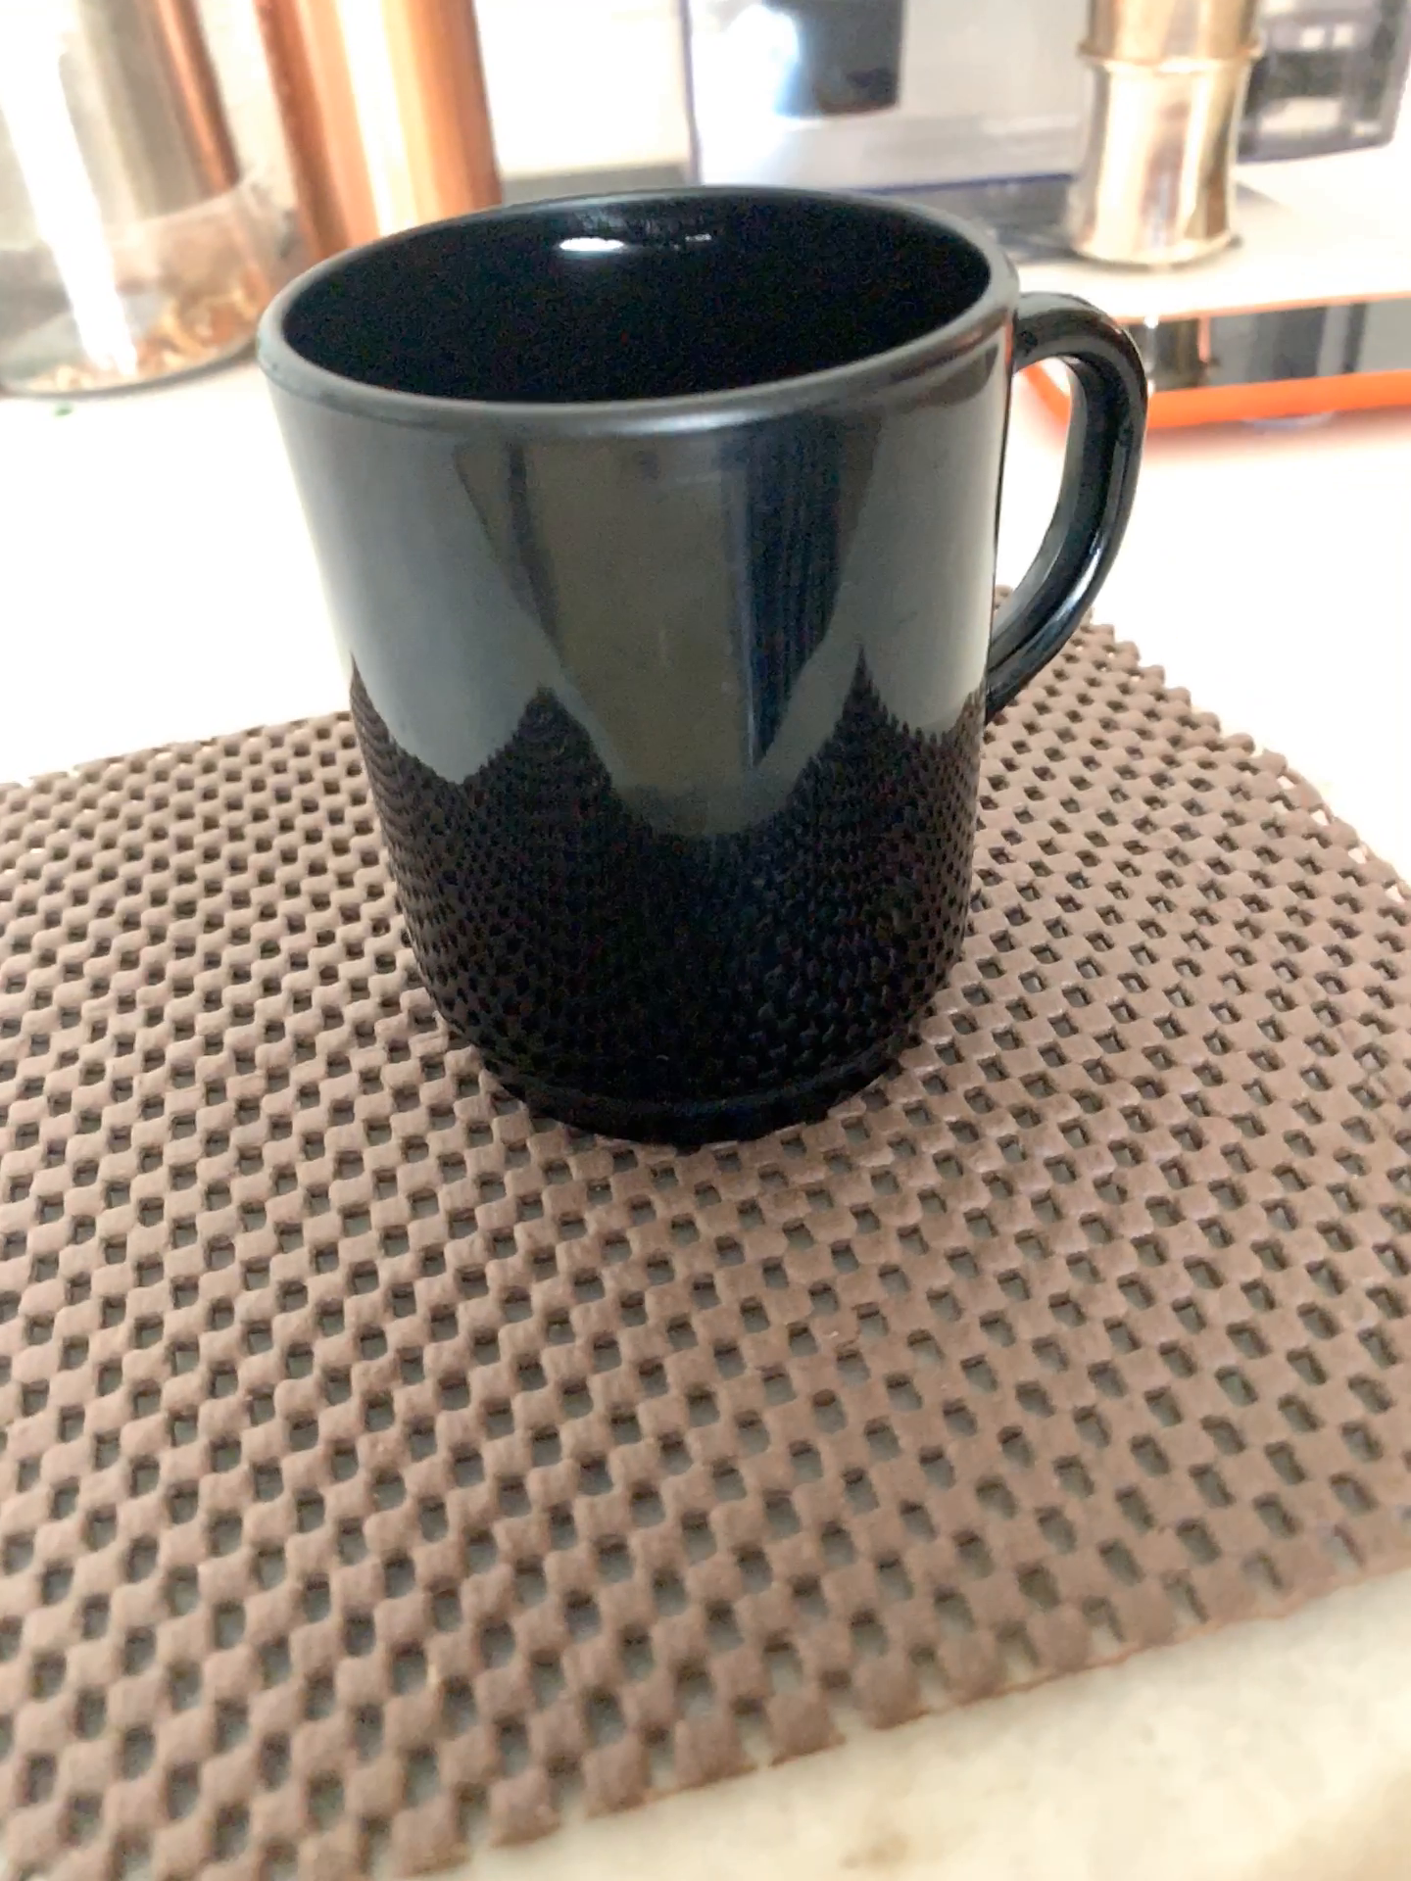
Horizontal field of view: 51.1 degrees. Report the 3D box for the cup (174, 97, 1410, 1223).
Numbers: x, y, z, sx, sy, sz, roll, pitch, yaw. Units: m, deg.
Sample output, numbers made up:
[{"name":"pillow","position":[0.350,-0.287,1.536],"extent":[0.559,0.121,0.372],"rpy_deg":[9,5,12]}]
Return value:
[{"name":"cup","position":[0.010,-0.041,0.174],"extent":[0.101,0.080,0.077],"rpy_deg":[-26,44,-24]}]
